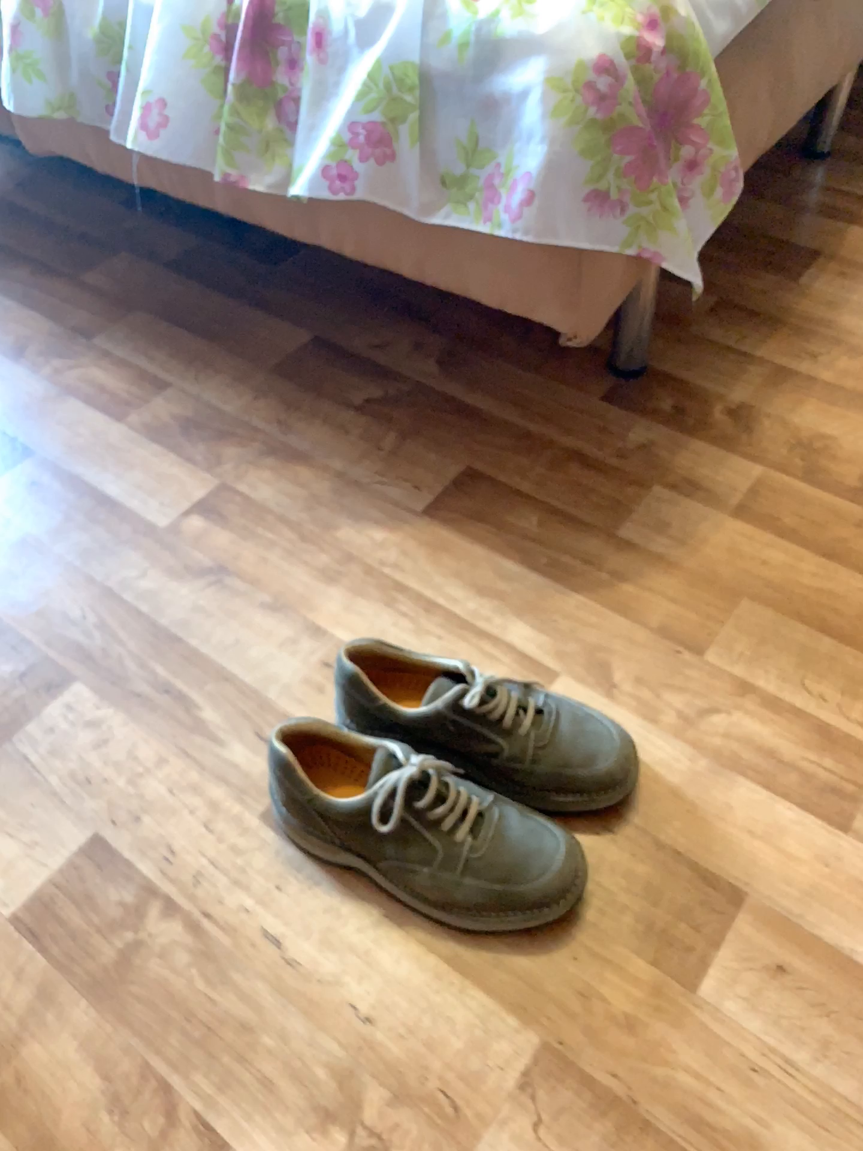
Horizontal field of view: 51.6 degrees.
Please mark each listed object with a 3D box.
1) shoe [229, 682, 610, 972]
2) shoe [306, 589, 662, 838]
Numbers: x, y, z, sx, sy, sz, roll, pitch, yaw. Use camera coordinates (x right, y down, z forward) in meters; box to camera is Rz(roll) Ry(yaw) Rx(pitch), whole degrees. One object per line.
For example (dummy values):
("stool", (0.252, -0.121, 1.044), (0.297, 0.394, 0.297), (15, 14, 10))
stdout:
("shoe", (-0.008, 0.214, 0.779), (0.290, 0.120, 0.120), (15, 52, 16))
("shoe", (0.049, 0.123, 0.825), (0.290, 0.110, 0.120), (13, 52, 15))
